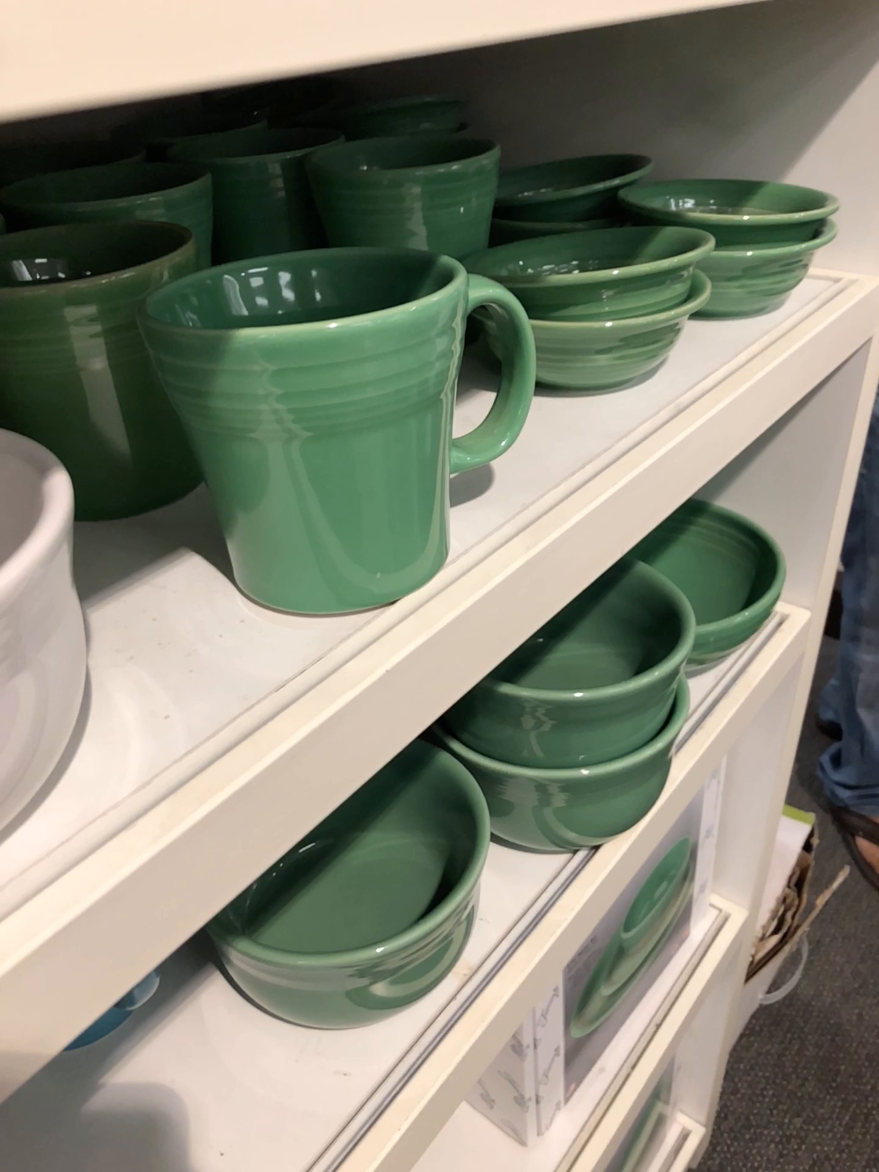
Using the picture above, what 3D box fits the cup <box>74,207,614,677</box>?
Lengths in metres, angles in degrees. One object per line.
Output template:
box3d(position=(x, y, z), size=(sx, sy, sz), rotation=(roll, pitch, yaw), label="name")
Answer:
box3d(position=(-0.030, -0.060, 0.336), size=(0.134, 0.098, 0.107), rotation=(-24, 39, -30), label="cup")
